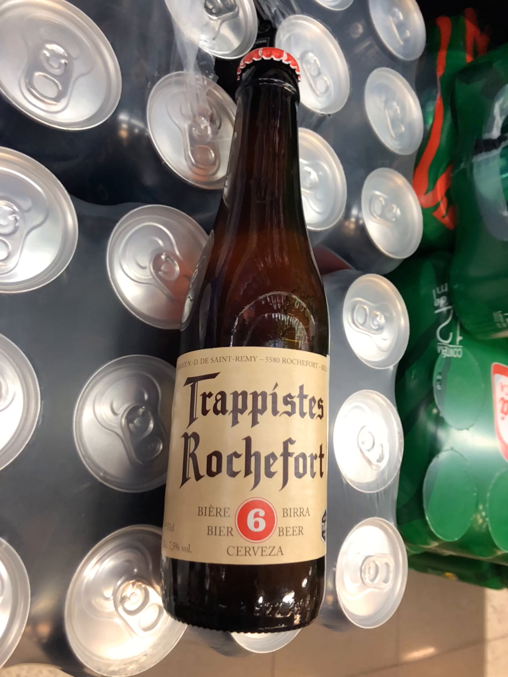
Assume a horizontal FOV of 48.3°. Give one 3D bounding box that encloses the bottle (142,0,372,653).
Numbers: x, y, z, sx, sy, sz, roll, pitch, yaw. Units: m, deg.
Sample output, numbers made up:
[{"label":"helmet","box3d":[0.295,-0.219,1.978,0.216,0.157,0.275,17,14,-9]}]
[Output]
[{"label":"bottle","box3d":[0.005,-0.020,0.222,0.060,0.050,0.240,11,76,-35]}]
